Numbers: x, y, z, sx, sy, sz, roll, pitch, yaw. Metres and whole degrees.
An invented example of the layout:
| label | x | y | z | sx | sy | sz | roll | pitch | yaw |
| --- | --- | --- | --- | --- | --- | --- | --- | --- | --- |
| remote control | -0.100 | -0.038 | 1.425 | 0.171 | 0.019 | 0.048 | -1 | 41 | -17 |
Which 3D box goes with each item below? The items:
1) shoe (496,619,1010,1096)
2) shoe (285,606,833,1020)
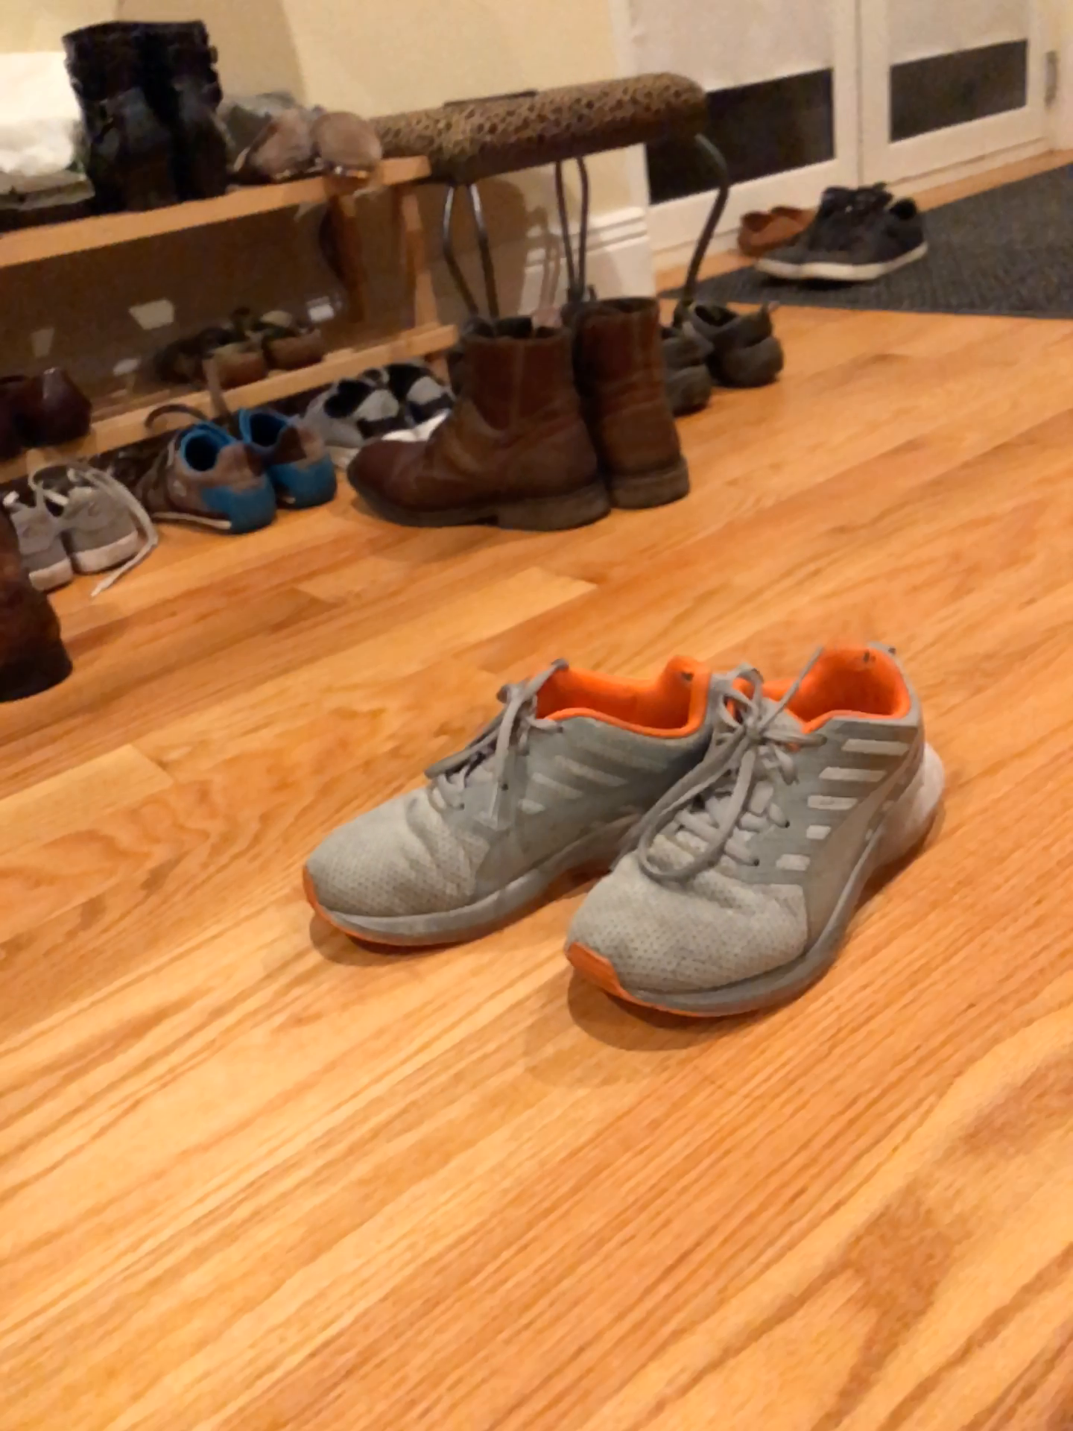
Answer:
| label | x | y | z | sx | sy | sz | roll | pitch | yaw |
| --- | --- | --- | --- | --- | --- | --- | --- | --- | --- |
| shoe | 0.113 | 0.049 | 0.560 | 0.110 | 0.080 | 0.251 | 18 | 38 | 41 |
| shoe | 0.015 | 0.040 | 0.605 | 0.250 | 0.099 | 0.100 | -19 | 29 | -17 |
